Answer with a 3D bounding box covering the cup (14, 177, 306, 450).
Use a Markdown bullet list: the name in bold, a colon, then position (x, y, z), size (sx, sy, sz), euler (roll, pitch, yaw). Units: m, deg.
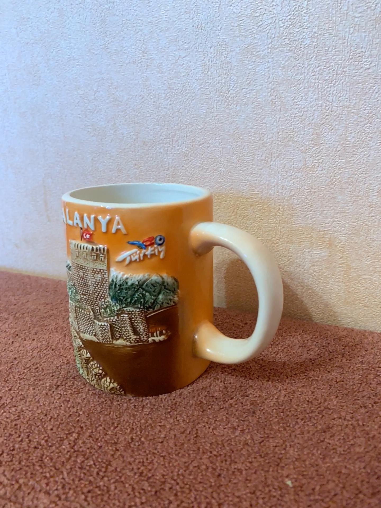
- **cup**: position (-0.011, 0.015, 0.216), size (0.120, 0.098, 0.088), euler (8, 21, 30)
